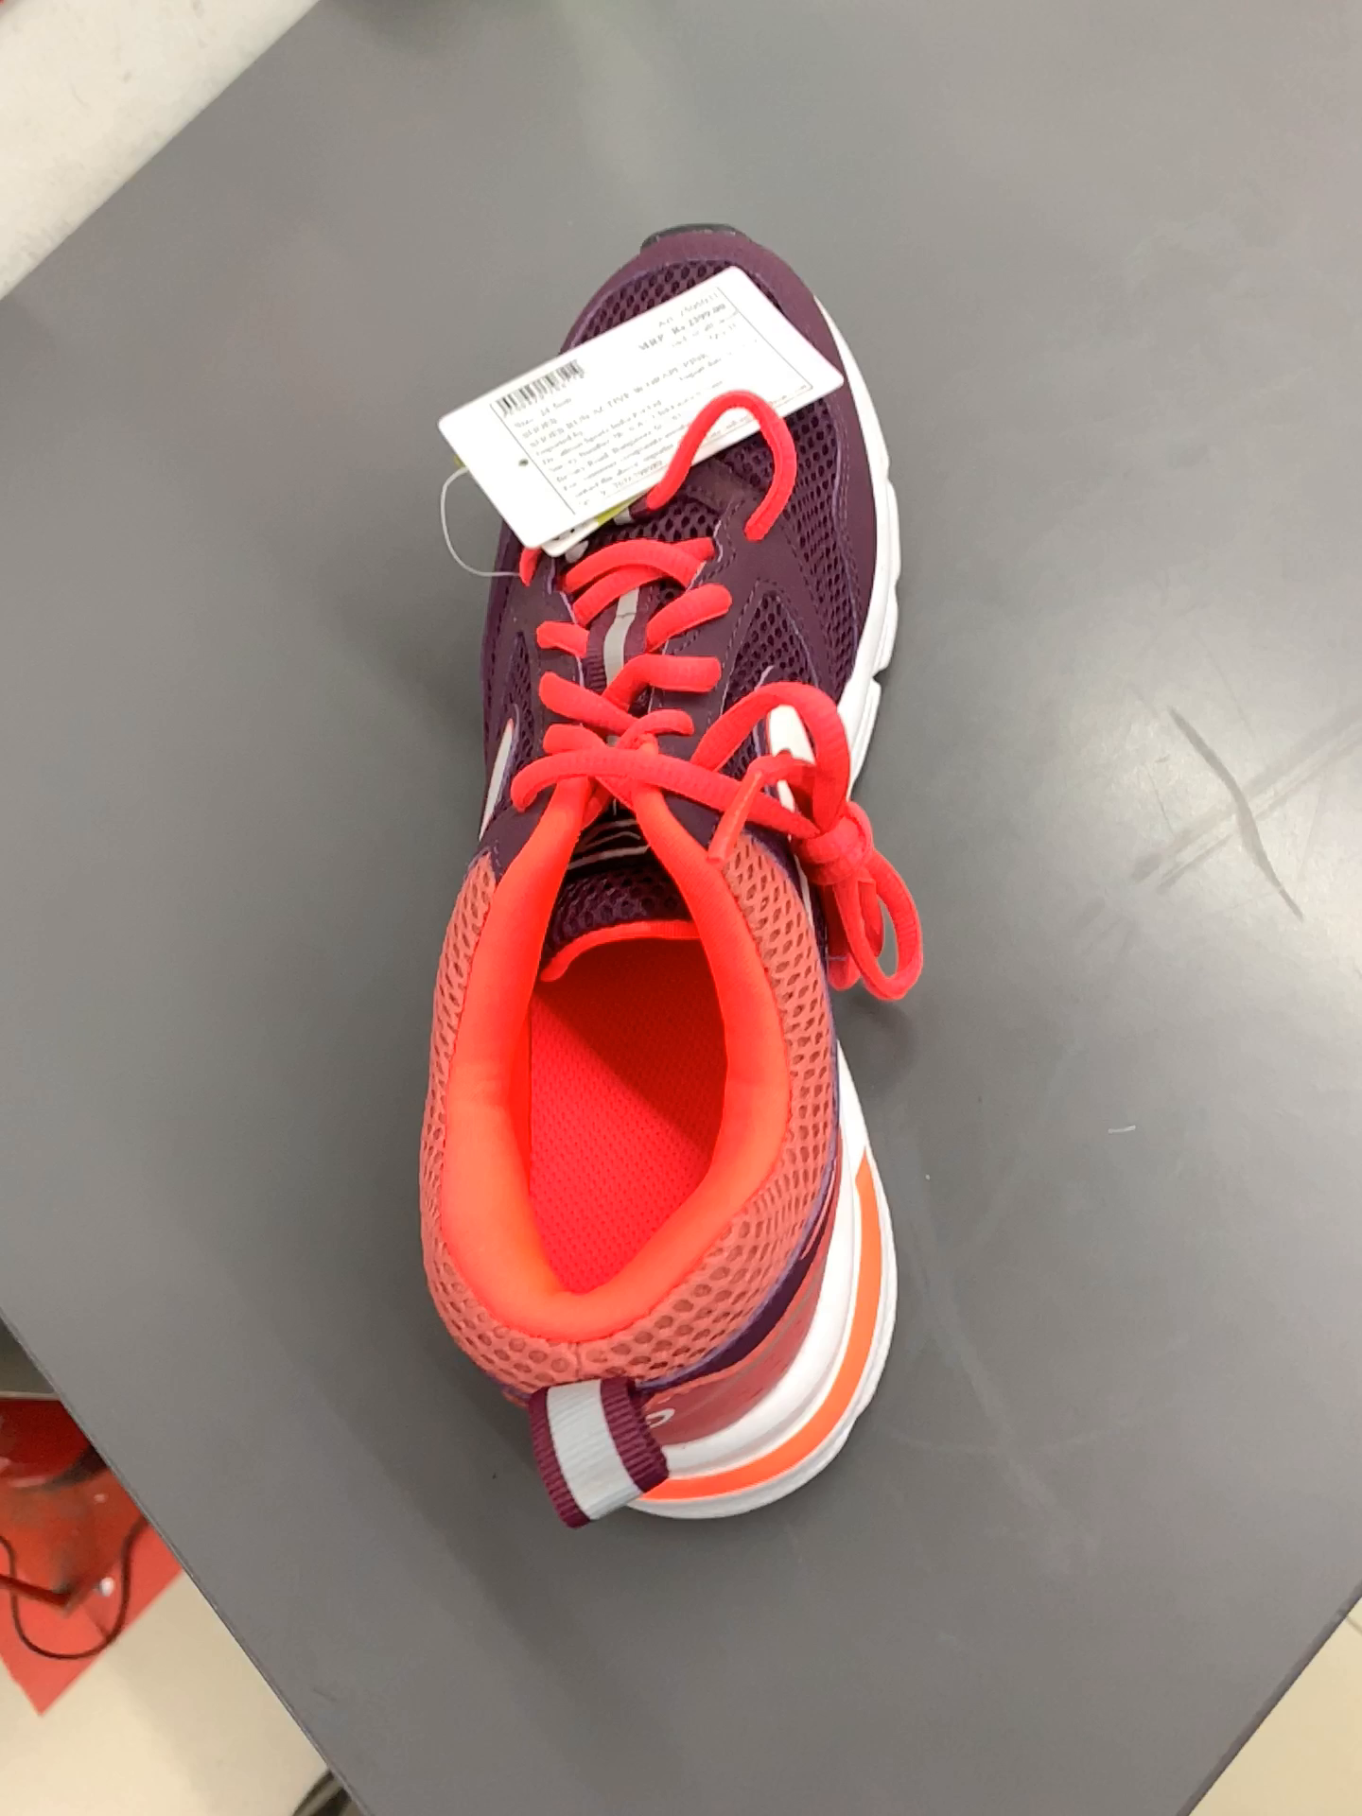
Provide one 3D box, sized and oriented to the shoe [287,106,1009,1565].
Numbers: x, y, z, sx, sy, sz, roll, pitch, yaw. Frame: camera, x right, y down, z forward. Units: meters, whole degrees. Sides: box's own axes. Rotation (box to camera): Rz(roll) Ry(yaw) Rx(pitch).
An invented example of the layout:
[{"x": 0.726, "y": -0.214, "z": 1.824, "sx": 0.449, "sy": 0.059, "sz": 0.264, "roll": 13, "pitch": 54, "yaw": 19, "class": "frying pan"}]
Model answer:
[{"x": 0.002, "y": -0.017, "z": 0.304, "sx": 0.110, "sy": 0.100, "sz": 0.280, "roll": -5, "pitch": 69, "yaw": 12, "class": "shoe"}]
